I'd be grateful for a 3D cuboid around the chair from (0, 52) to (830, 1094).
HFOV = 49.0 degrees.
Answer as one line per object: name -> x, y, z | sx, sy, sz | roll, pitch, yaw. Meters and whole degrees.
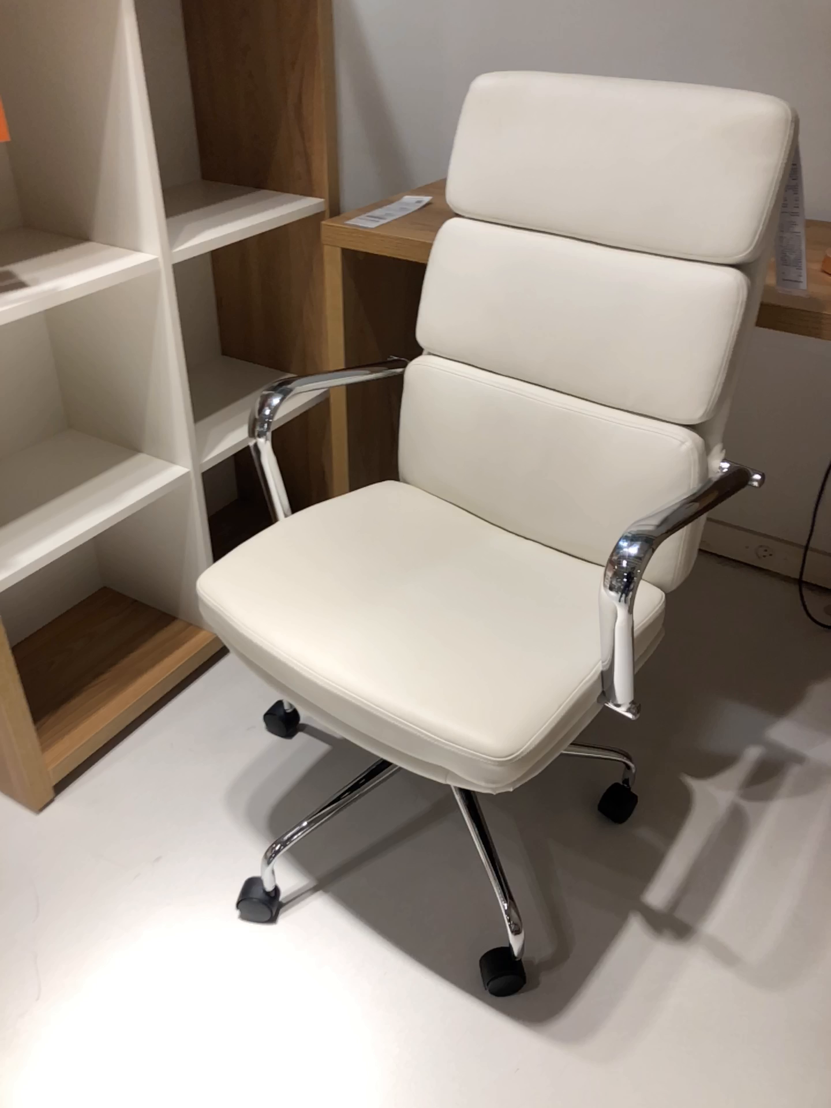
chair -> 0.019, -0.031, 1.210 | 0.641, 1.032, 0.684 | 21, 39, 28
